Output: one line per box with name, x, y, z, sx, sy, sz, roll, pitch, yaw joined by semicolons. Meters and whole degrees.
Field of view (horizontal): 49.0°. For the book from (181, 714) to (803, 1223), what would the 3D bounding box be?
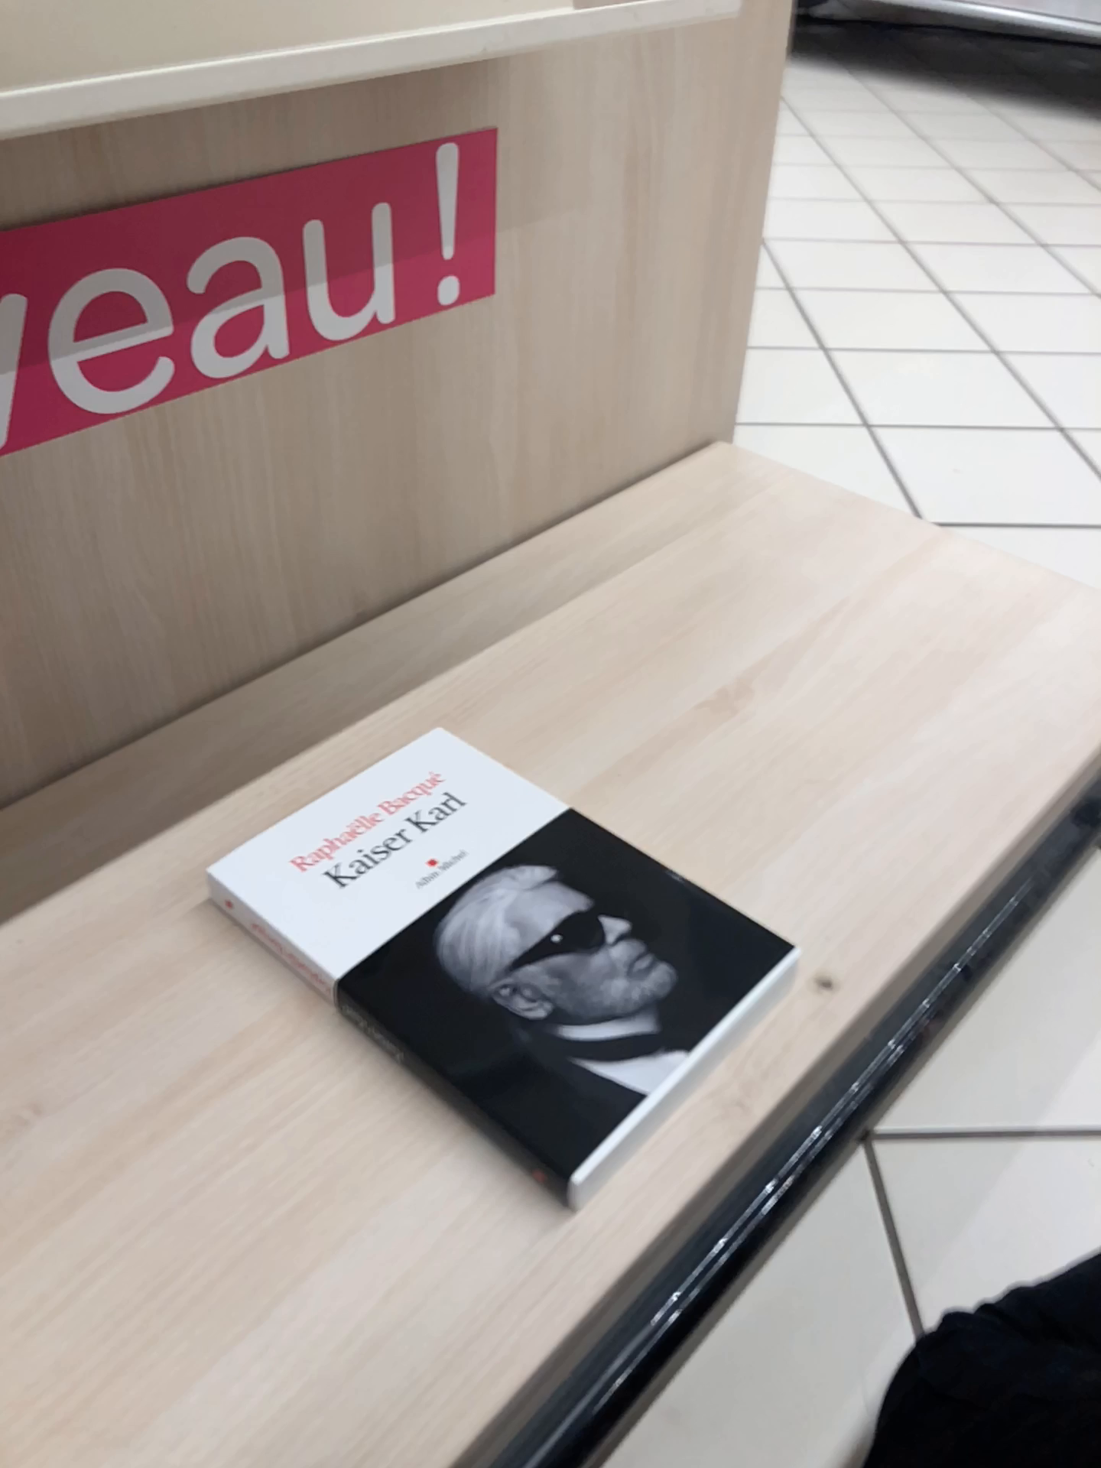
book;-0.028;0.081;0.520;0.220;0.030;0.151;30;44;30
